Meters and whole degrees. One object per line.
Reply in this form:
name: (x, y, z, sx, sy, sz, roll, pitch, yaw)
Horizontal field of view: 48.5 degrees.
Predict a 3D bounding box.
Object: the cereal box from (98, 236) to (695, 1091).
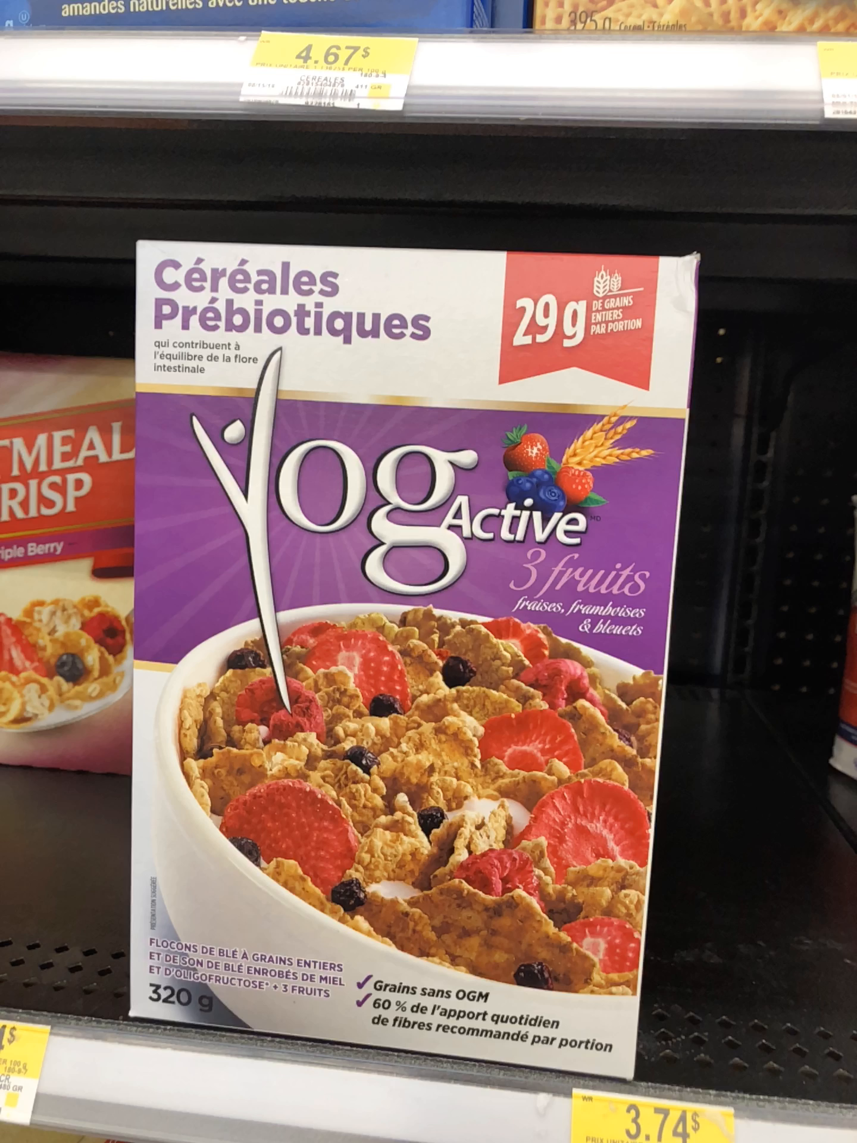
cereal box: (-0.016, 0.030, 0.349, 0.190, 0.279, 0.060, 4, 9, 7)
